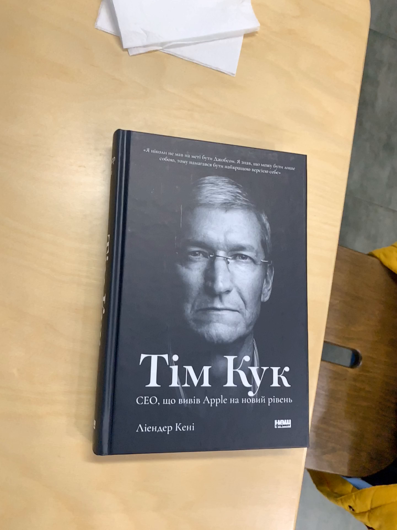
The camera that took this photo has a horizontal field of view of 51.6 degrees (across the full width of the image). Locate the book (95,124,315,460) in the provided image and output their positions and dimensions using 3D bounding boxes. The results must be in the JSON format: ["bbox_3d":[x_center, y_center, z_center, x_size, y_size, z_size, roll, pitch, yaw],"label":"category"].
[{"bbox_3d":[0.008,0.017,0.297,0.144,0.034,0.217,4,80,-13],"label":"book"}]
